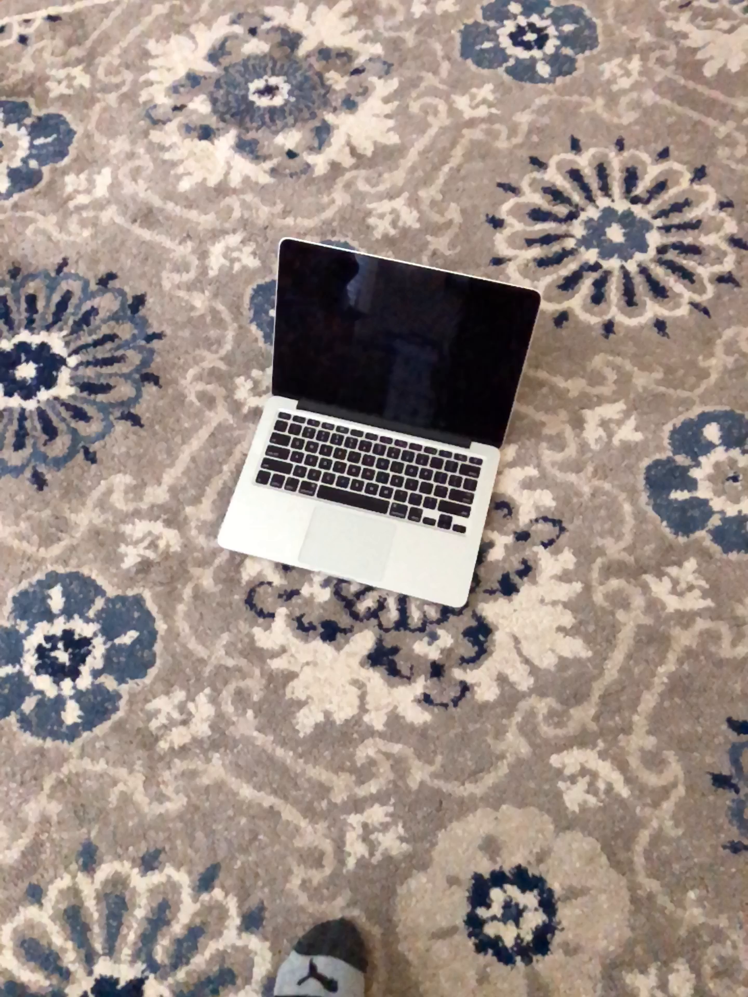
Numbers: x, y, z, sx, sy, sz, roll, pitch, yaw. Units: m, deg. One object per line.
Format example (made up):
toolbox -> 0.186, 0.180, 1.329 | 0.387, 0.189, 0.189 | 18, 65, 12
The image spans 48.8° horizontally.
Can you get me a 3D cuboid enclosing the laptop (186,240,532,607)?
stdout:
laptop -> -0.004, -0.086, 0.951 | 0.300, 0.171, 0.322 | 13, 67, 5
